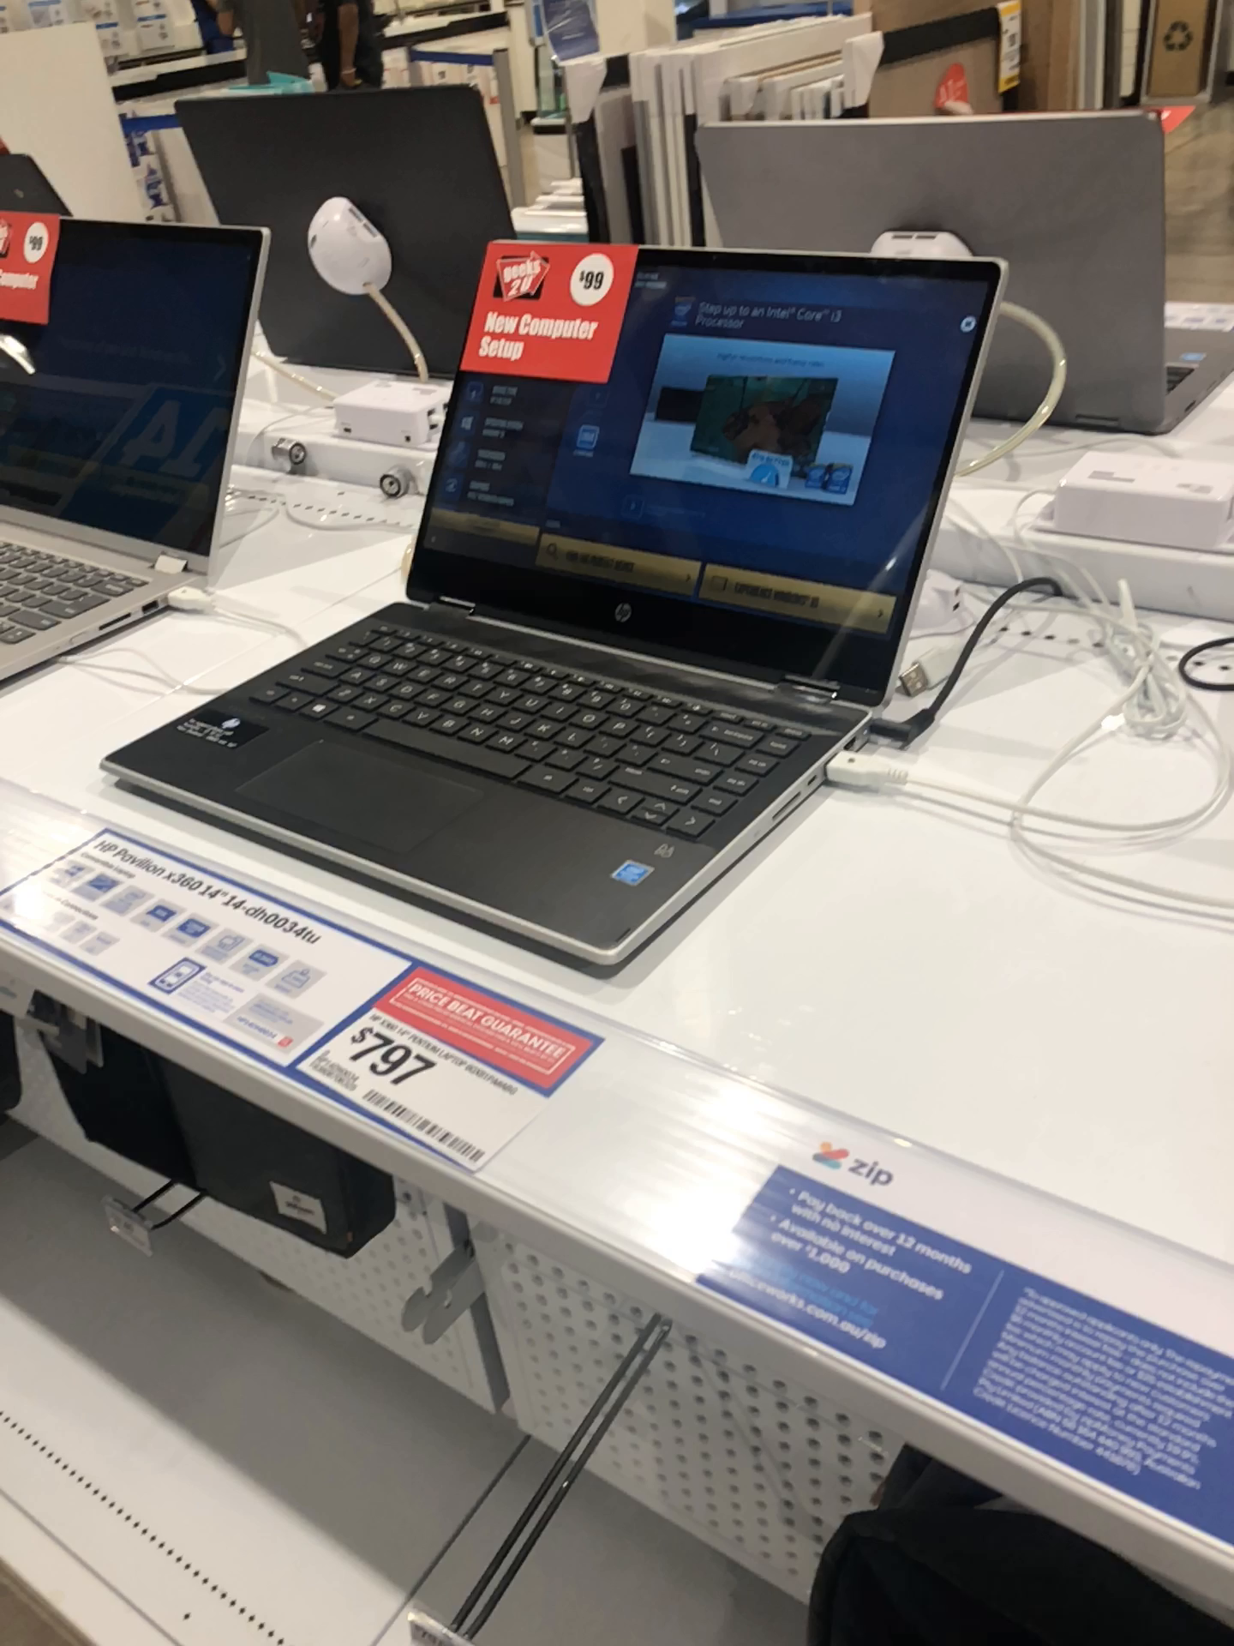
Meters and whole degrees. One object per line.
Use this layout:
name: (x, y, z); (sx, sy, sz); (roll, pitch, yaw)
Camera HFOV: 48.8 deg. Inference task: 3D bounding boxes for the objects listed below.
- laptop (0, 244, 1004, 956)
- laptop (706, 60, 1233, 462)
laptop: (-0.036, -0.146, 0.656); (0.316, 0.169, 0.340); (17, 40, 32)
laptop: (0.300, -0.441, 1.033); (0.306, 0.199, 0.358); (18, 39, 33)
